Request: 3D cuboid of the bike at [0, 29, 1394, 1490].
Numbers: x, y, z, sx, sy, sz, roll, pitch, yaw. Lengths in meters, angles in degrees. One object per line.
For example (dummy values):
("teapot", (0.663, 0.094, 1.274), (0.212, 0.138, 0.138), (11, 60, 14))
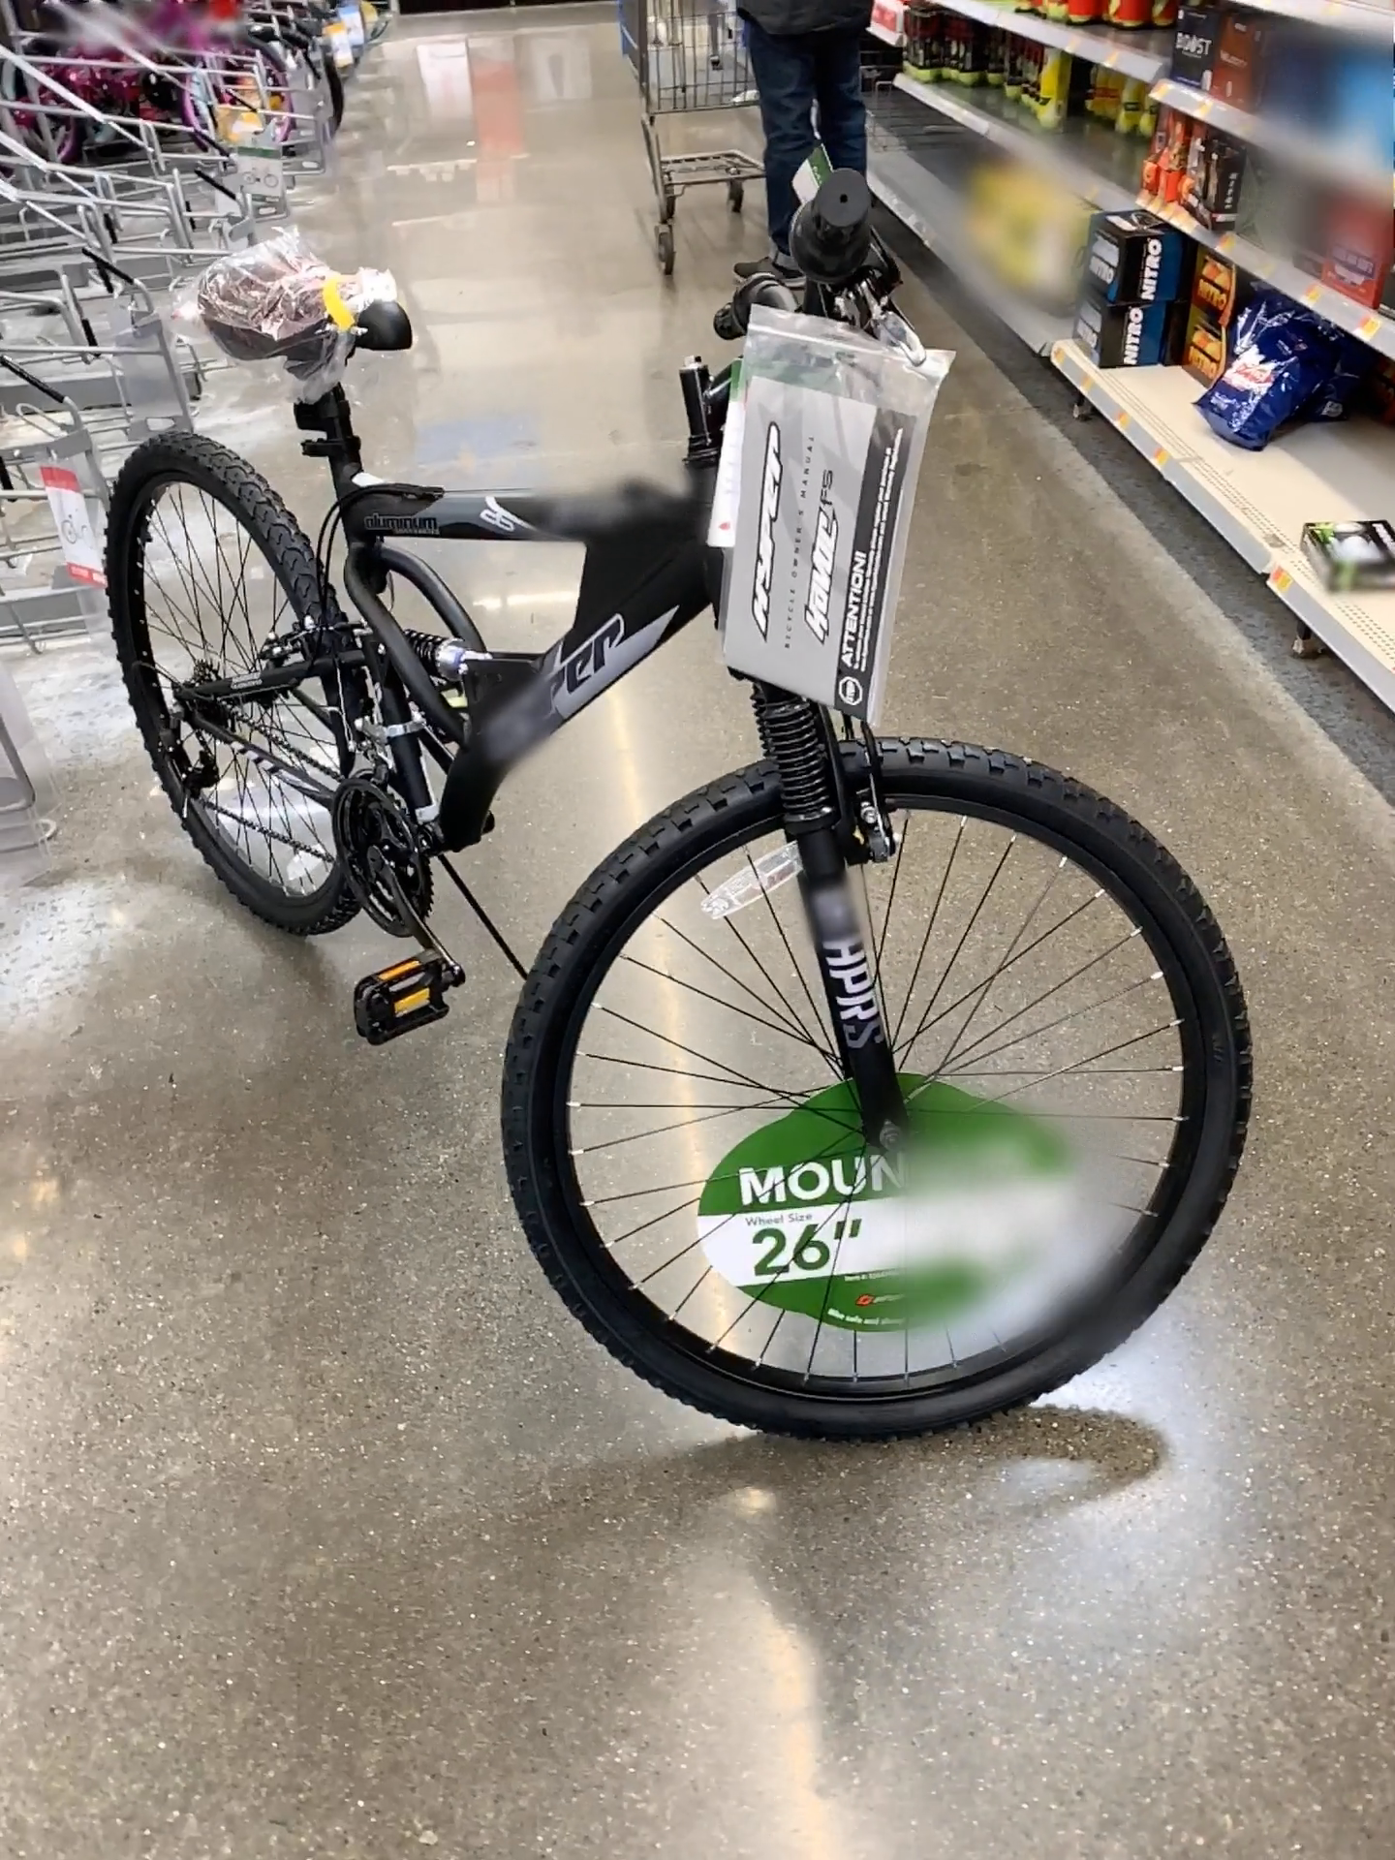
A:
("bike", (-0.127, -0.337, 1.709), (1.680, 1.089, 0.693), (24, 45, 28))
